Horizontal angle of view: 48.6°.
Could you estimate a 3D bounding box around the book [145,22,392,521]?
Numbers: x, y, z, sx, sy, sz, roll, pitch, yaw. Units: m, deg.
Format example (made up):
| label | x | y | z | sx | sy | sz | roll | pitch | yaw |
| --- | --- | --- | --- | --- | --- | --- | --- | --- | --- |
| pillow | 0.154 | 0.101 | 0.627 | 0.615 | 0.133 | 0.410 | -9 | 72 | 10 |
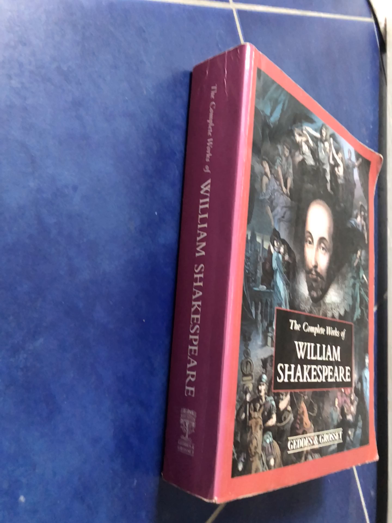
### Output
| label | x | y | z | sx | sy | sz | roll | pitch | yaw |
| --- | --- | --- | --- | --- | --- | --- | --- | --- | --- |
| book | 0.076 | 0.013 | 0.325 | 0.212 | 0.060 | 0.270 | 16 | 74 | -45 |
